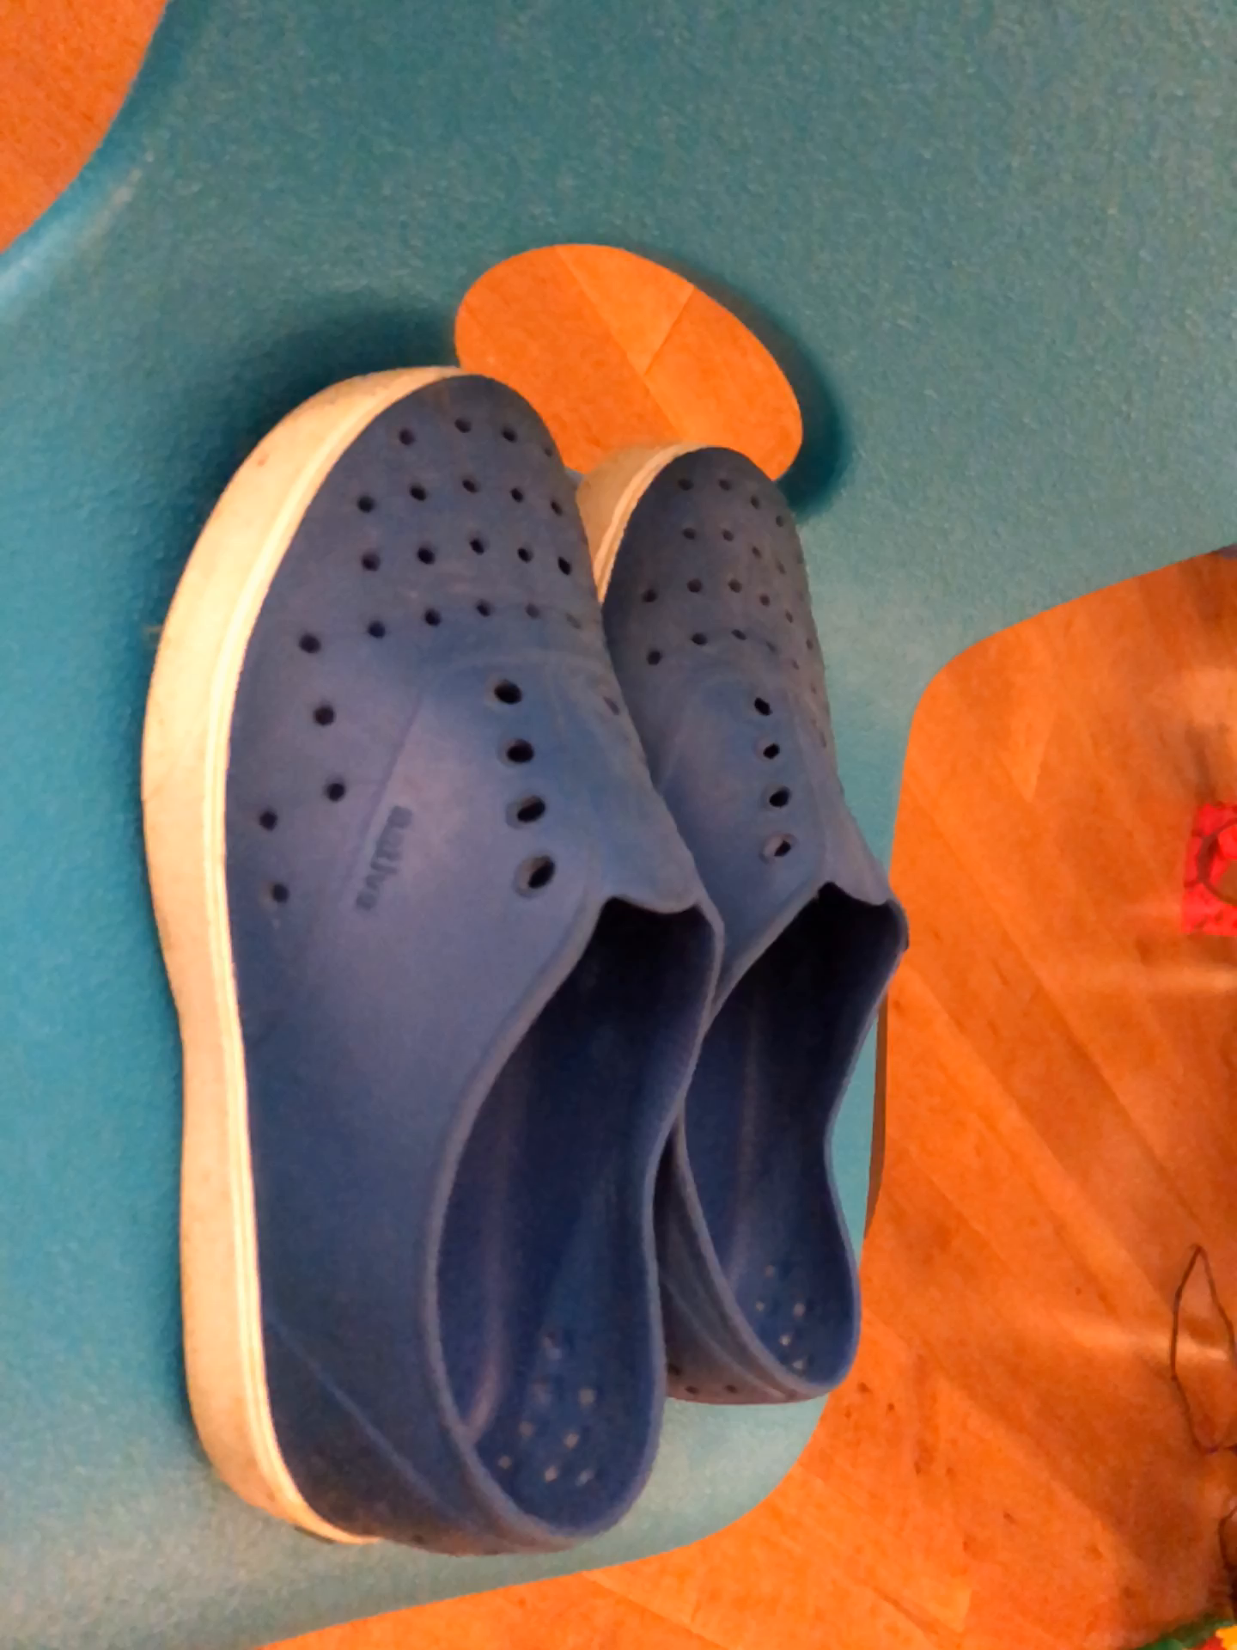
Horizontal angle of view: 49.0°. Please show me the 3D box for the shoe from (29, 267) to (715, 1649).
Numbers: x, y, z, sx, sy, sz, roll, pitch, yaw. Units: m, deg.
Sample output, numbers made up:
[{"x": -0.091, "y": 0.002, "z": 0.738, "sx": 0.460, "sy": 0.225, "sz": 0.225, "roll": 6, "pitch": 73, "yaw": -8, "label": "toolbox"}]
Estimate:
[{"x": -0.043, "y": 0.022, "z": 0.264, "sx": 0.090, "sy": 0.080, "sz": 0.210, "roll": 9, "pitch": 81, "yaw": -49, "label": "shoe"}]

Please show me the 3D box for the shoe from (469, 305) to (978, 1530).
[{"x": 0.030, "y": 0.019, "z": 0.327, "sx": 0.100, "sy": 0.070, "sz": 0.240, "roll": 9, "pitch": 81, "yaw": -49, "label": "shoe"}]
